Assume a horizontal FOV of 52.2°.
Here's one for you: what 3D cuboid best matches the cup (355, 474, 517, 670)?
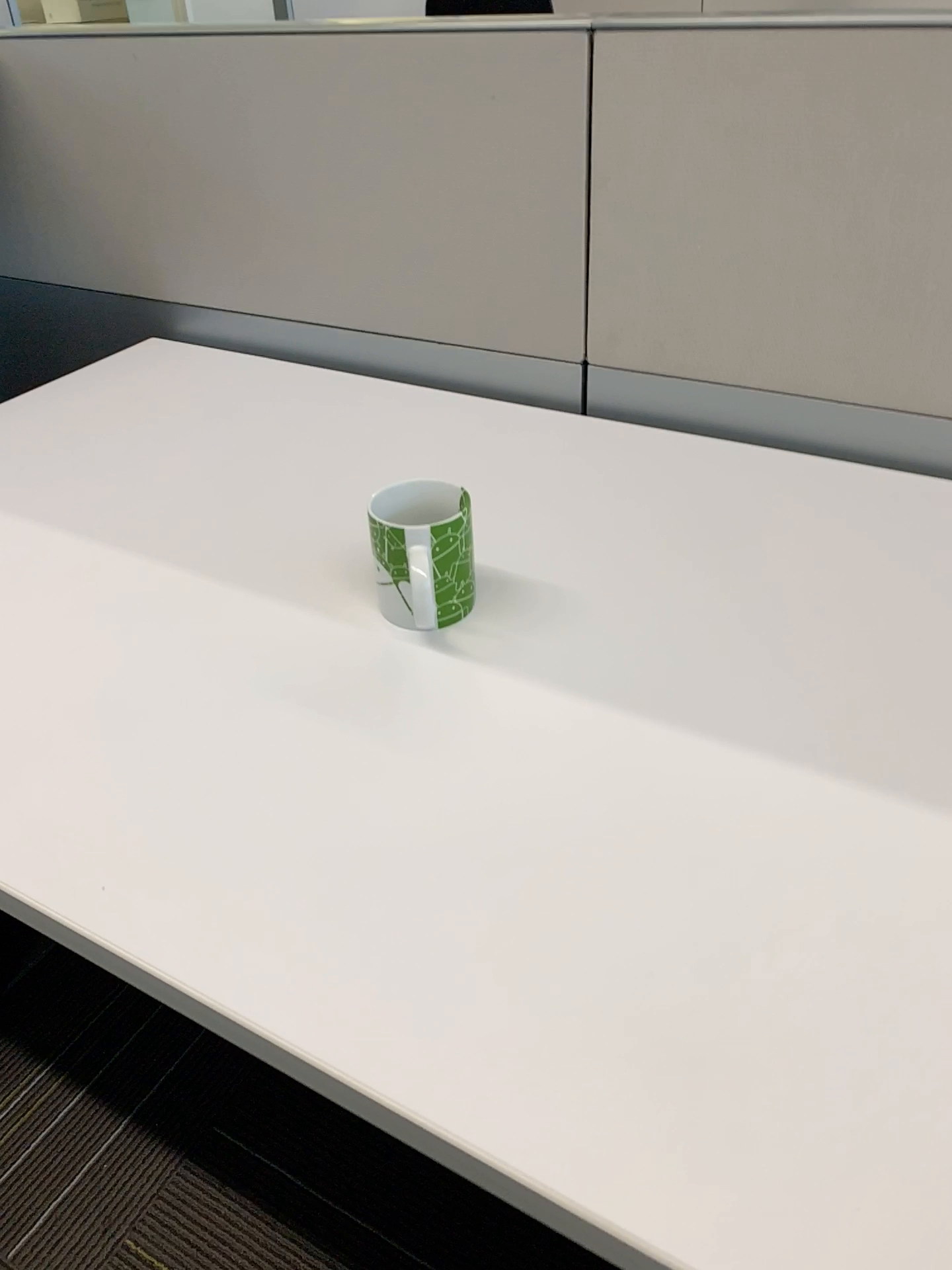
[{"bbox_3d":[-0.034,-0.055,0.788,0.090,0.090,0.131,-14,37,-14],"label":"cup"}]
